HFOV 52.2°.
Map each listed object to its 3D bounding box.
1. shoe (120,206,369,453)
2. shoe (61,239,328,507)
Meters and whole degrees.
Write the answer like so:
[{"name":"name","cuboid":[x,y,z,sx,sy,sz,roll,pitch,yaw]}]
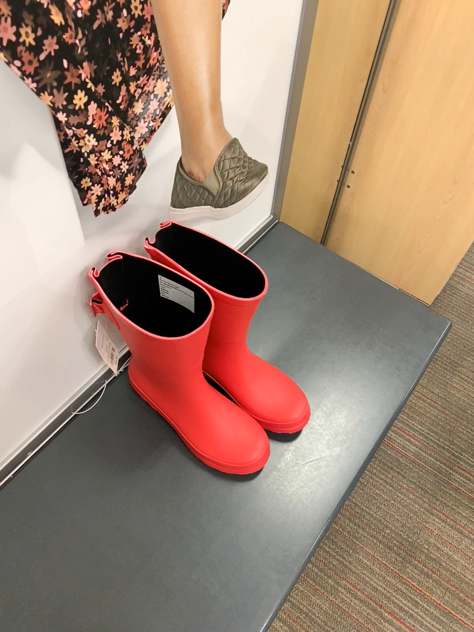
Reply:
[{"name":"shoe","cuboid":[-0.001,0.029,0.656,0.270,0.249,0.106,29,59,15]},{"name":"shoe","cuboid":[-0.056,0.082,0.608,0.270,0.249,0.106,32,59,16]}]
